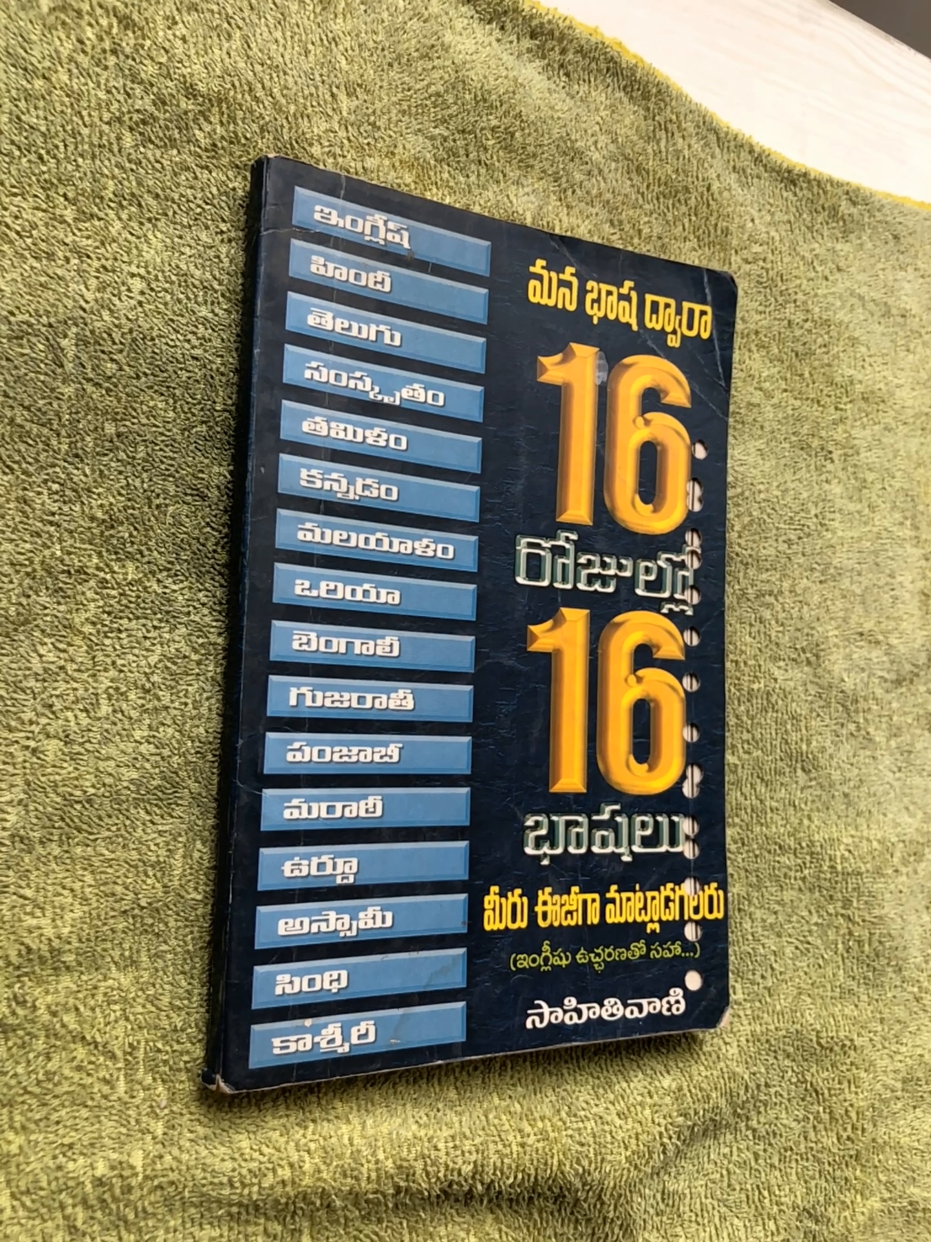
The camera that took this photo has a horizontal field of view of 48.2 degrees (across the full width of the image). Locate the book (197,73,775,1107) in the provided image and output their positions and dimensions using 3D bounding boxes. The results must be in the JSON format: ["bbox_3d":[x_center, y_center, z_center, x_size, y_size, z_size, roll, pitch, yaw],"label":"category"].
[{"bbox_3d":[0.013,-0.005,0.263,0.140,0.030,0.220,5,84,-25],"label":"book"}]
